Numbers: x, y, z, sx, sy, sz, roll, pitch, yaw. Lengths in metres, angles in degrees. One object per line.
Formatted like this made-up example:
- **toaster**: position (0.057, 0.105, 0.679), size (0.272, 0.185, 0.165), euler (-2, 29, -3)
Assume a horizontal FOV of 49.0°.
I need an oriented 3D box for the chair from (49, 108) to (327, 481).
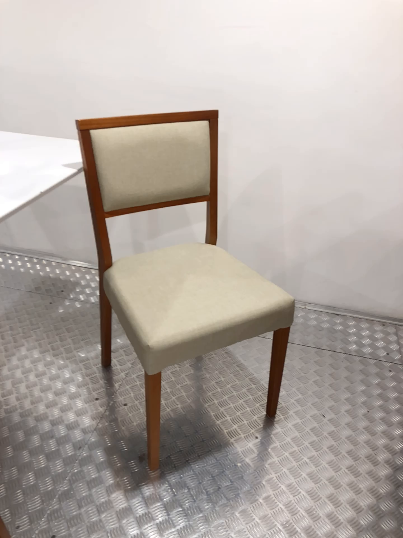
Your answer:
- **chair**: position (-0.090, 0.027, 1.414), size (0.521, 0.893, 0.623), euler (-14, 34, -27)
